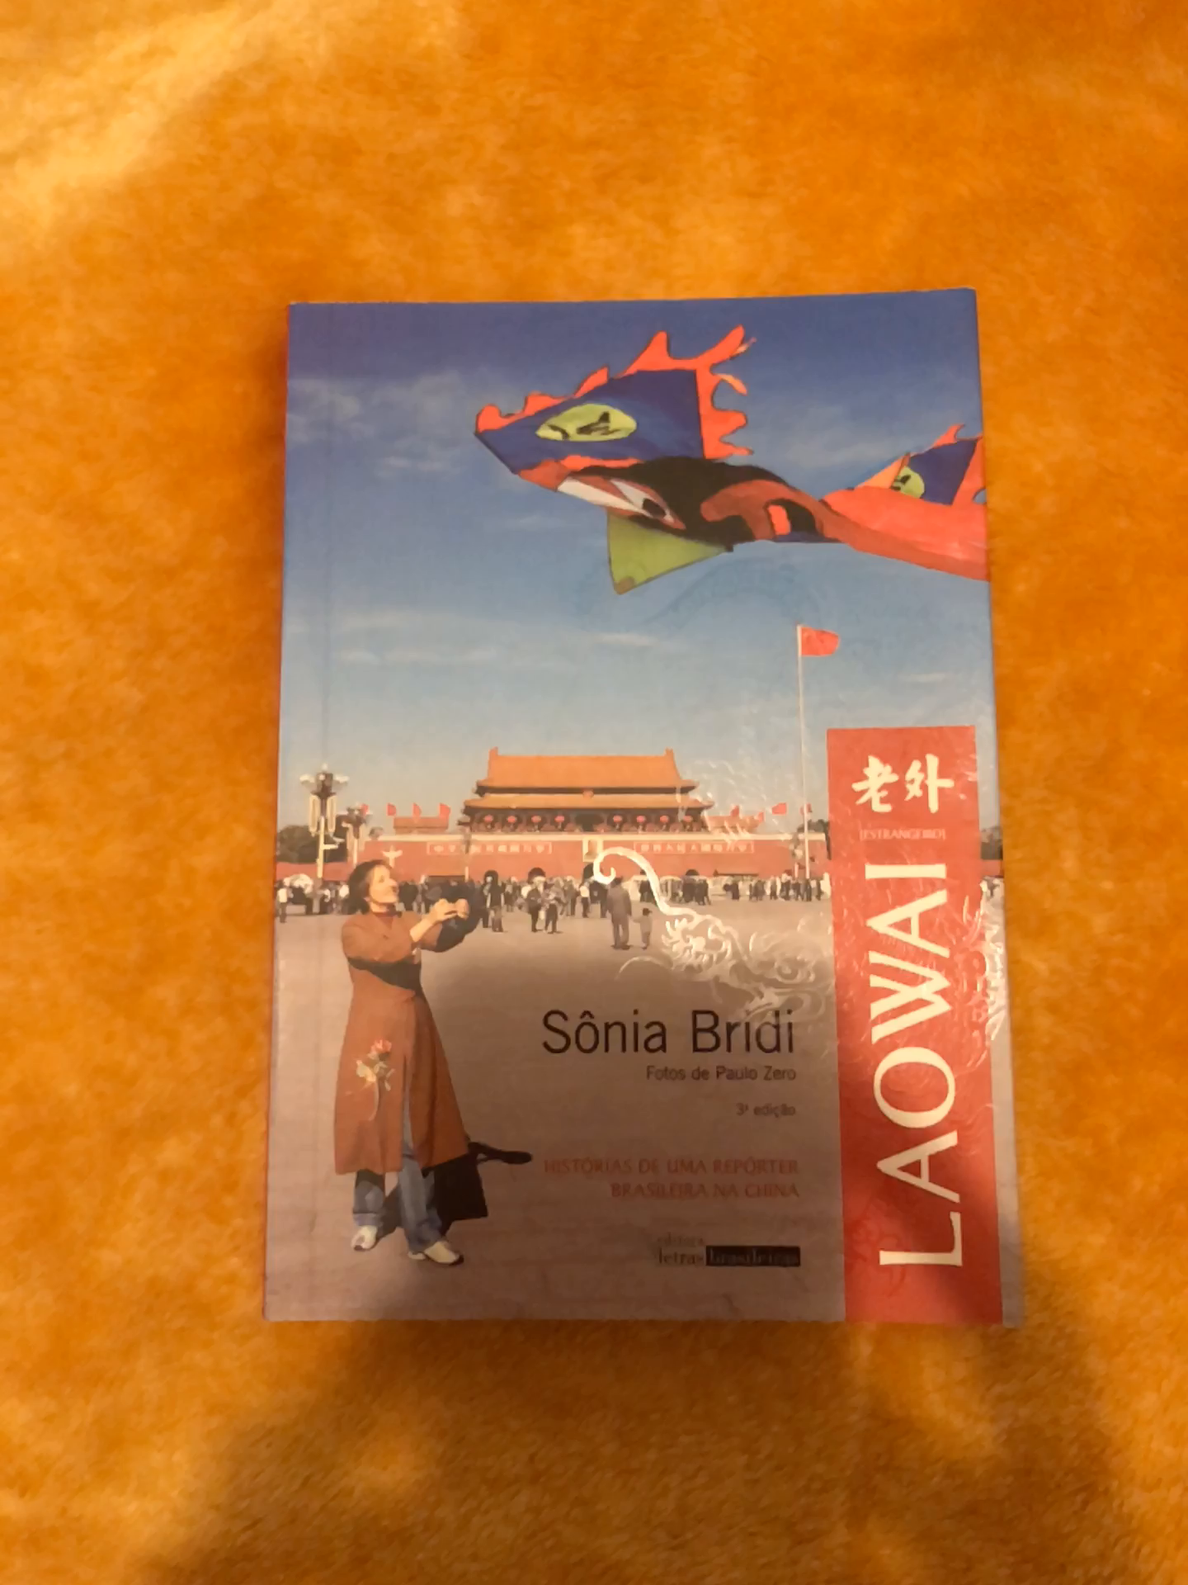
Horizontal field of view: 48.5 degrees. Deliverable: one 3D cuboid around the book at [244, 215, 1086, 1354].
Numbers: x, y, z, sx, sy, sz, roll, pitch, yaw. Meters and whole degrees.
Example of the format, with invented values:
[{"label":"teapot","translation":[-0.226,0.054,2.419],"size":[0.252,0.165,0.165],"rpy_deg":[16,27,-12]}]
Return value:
[{"label":"book","translation":[0.013,-0.005,0.303],"size":[0.170,0.040,0.240],"rpy_deg":[-1,82,6]}]
